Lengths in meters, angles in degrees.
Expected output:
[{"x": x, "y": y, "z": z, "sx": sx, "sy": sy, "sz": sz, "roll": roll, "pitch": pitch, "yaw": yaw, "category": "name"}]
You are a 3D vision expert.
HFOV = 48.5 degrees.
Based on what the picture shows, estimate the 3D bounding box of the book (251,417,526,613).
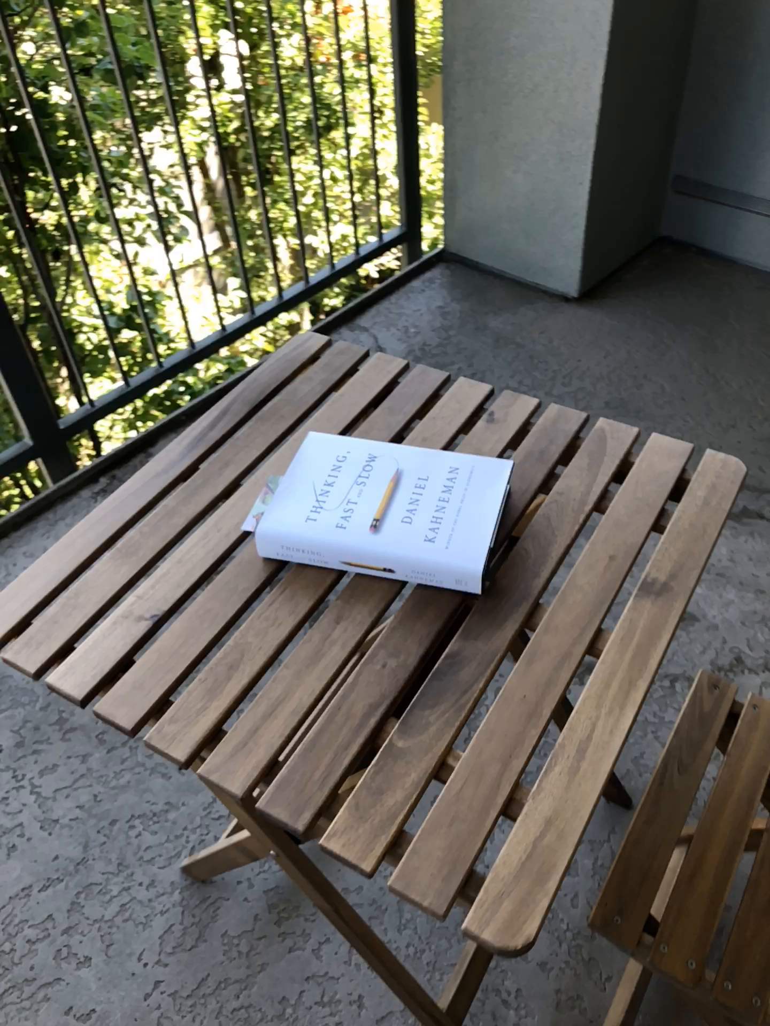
[{"x": 0.011, "y": -0.006, "z": 0.887, "sx": 0.240, "sy": 0.060, "sz": 0.181, "roll": 9, "pitch": 47, "yaw": 13, "category": "book"}]
